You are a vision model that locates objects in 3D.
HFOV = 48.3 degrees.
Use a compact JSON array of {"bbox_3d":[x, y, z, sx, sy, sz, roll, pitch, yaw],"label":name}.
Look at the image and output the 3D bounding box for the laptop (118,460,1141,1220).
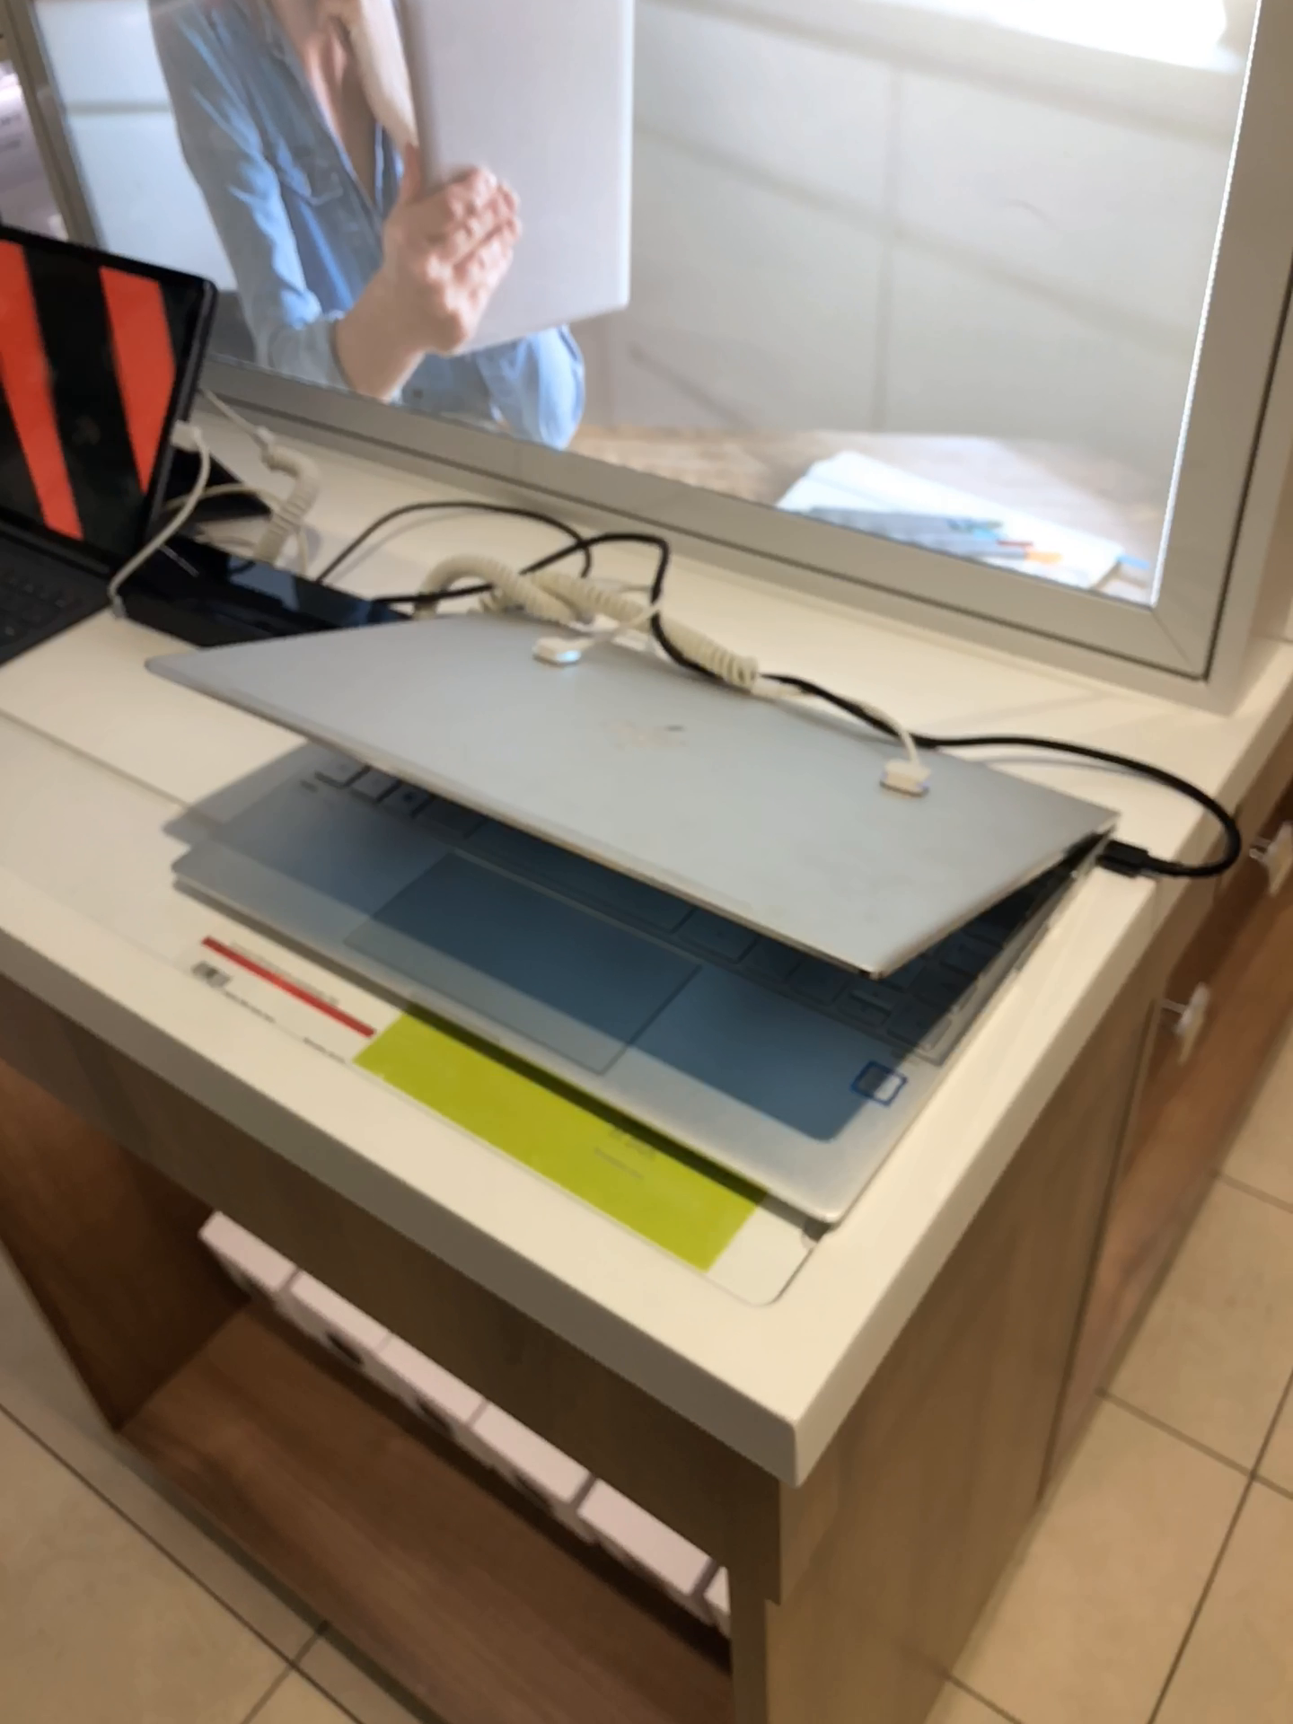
[{"bbox_3d":[-0.007,-0.037,0.533,0.299,0.078,0.211,23,49,29],"label":"laptop"}]
